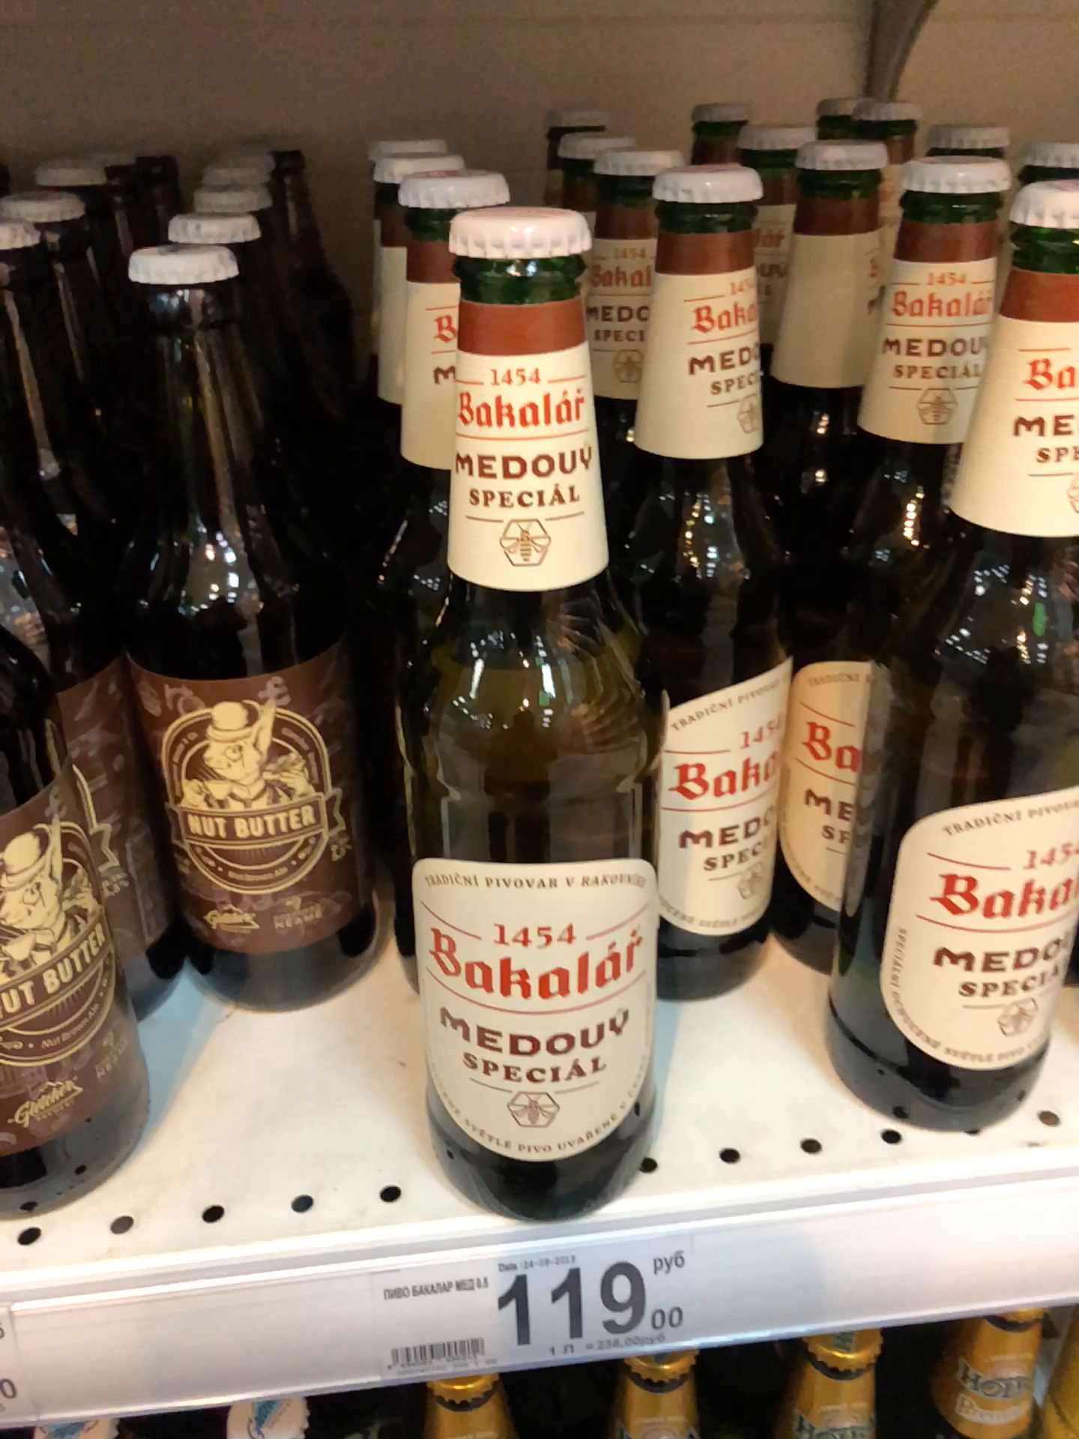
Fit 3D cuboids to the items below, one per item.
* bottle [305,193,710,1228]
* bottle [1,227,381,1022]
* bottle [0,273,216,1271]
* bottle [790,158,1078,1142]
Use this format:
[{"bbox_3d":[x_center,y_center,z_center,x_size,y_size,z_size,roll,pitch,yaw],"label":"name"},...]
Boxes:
[{"bbox_3d":[-0.002,0.010,0.293,0.070,0.249,0.066,-1,28,0],"label":"bottle"},{"bbox_3d":[-0.092,-0.020,0.363,0.069,0.231,0.061,-4,29,-5],"label":"bottle"},{"bbox_3d":[-0.144,0.019,0.298,0.061,0.233,0.069,21,36,35],"label":"bottle"},{"bbox_3d":[0.112,-0.004,0.308,0.065,0.249,0.061,-1,28,0],"label":"bottle"}]
